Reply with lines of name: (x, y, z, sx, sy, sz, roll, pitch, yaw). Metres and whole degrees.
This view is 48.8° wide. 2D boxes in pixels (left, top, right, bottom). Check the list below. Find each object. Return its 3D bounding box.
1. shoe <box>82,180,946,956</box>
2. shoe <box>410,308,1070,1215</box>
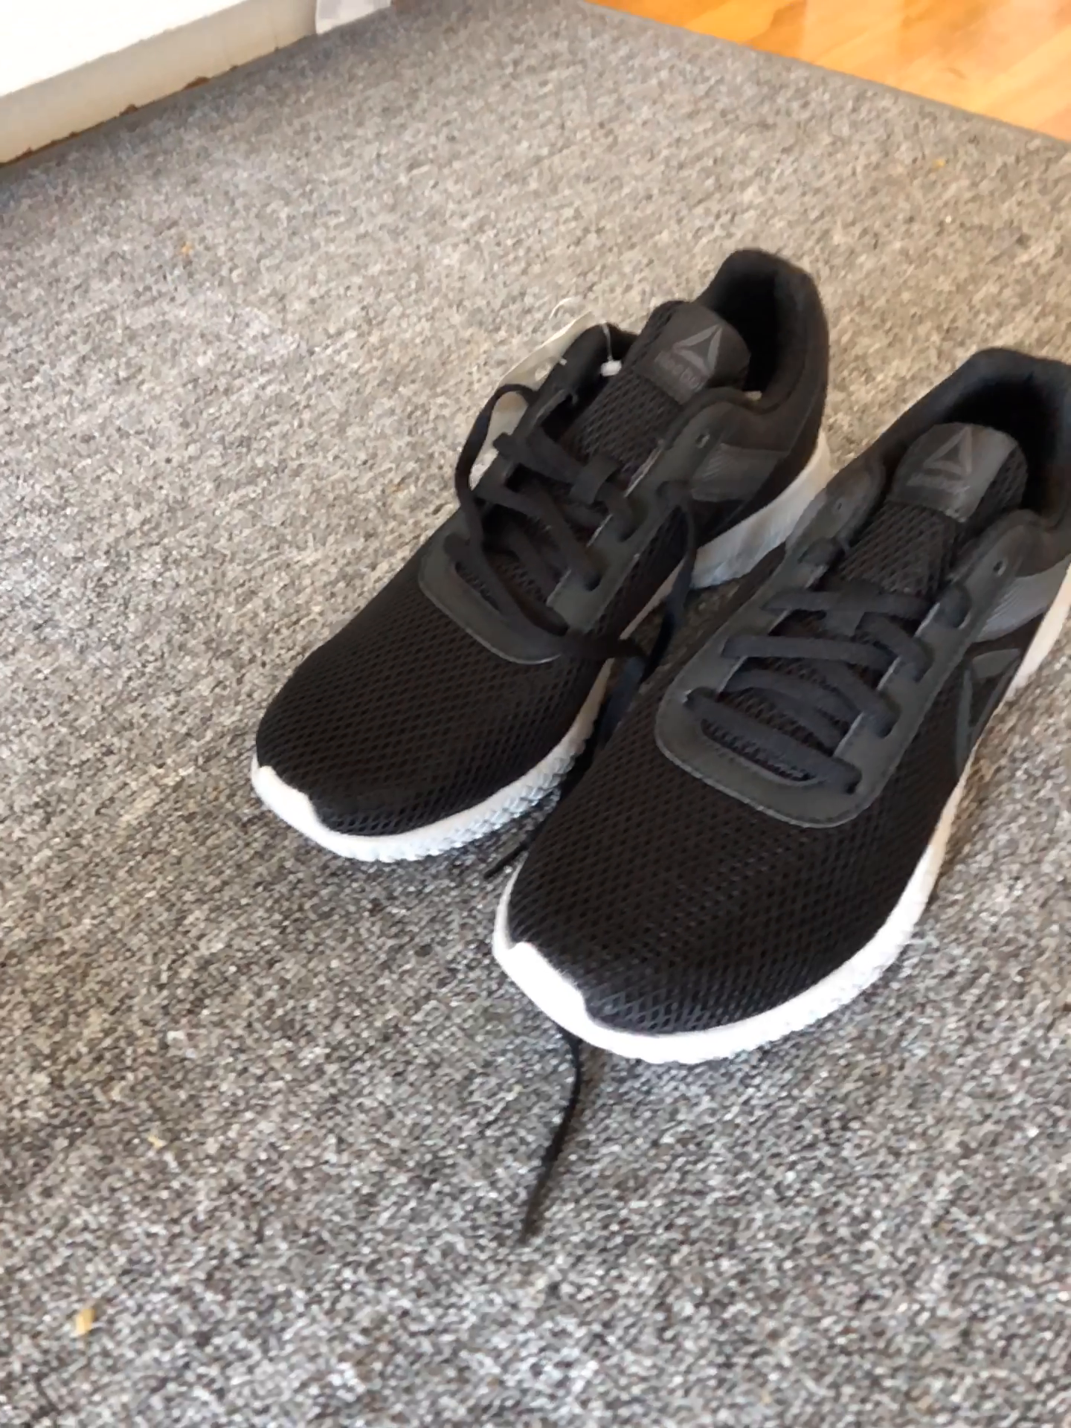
shoe: (0.011, -0.073, 0.429, 0.116, 0.099, 0.301, 33, 58, 27)
shoe: (0.107, -0.008, 0.392, 0.110, 0.099, 0.301, 31, 57, 26)
